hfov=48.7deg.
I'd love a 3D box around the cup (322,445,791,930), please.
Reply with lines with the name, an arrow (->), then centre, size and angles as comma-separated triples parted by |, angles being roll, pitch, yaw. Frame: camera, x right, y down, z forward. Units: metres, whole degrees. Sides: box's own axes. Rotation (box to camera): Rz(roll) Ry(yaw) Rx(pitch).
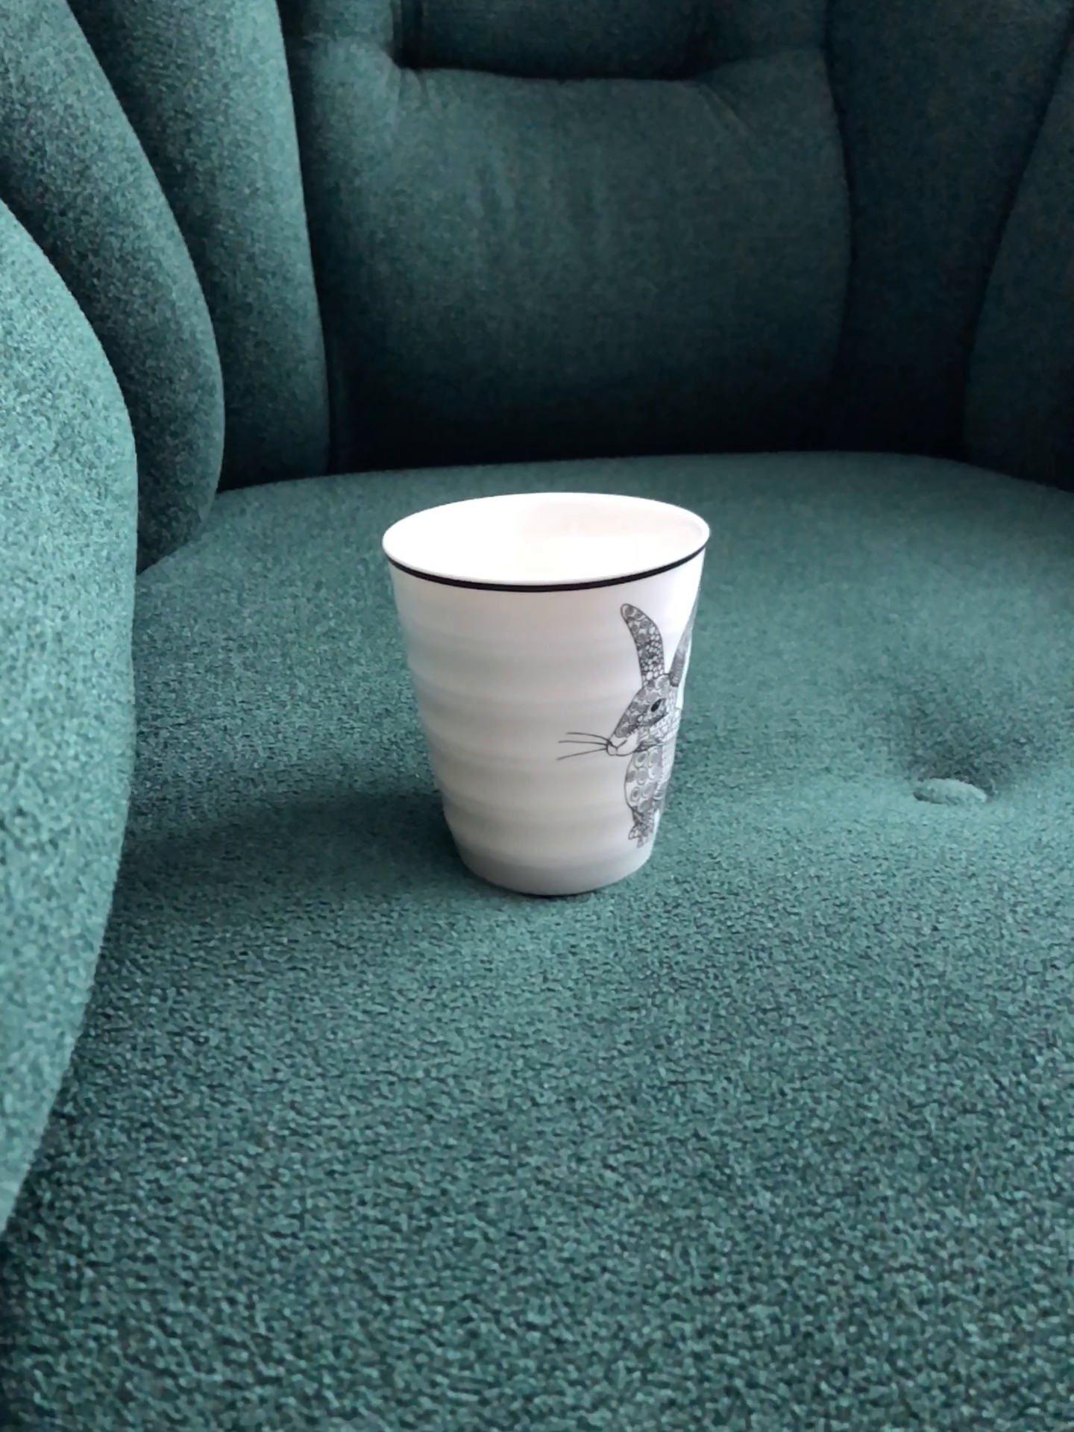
cup -> 0.012, -0.018, 0.359 | 0.095, 0.095, 0.121 | 11, 27, 21
